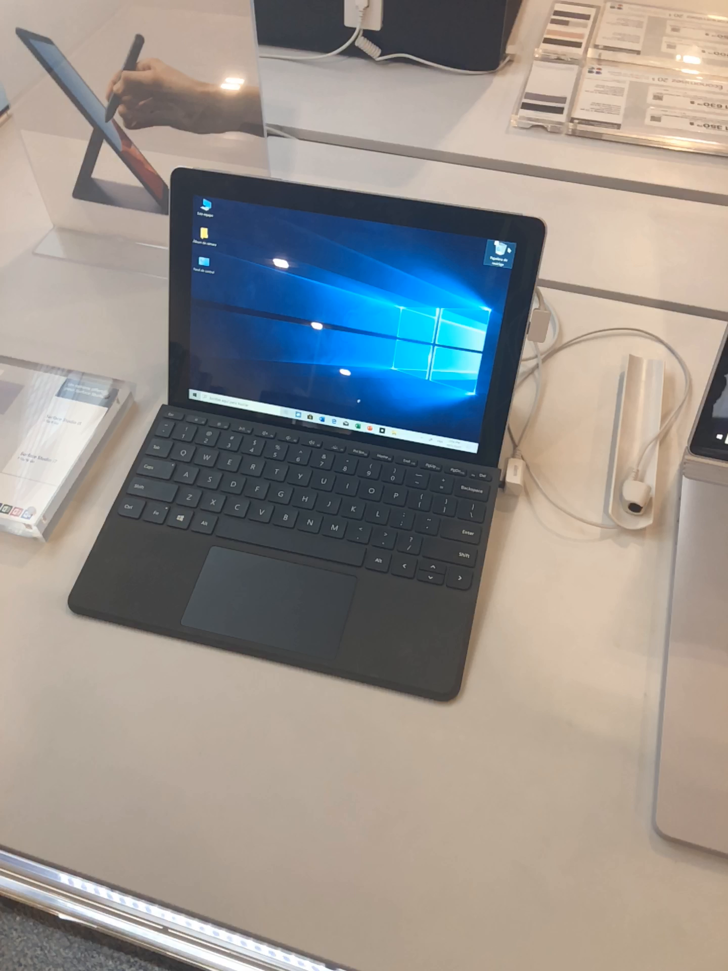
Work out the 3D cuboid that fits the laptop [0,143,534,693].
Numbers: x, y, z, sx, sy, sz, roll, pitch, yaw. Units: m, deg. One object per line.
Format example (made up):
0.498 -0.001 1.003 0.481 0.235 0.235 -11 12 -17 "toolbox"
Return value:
-0.039 -0.050 0.487 0.236 0.140 0.251 11 57 7 "laptop"
